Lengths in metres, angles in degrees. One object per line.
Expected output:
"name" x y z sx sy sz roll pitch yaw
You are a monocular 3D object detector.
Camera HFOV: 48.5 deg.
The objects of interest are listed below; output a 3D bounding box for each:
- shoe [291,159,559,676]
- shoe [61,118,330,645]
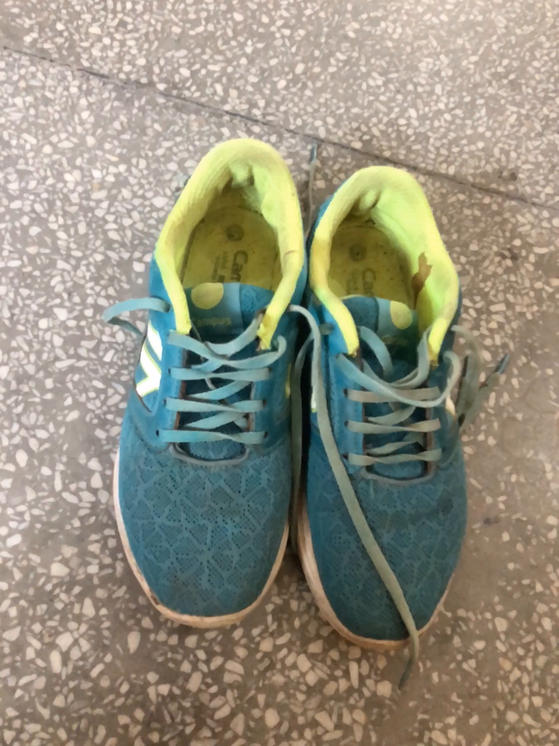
"shoe" 0.061 0.020 0.313 0.094 0.088 0.229 4 71 -6
"shoe" -0.032 0.004 0.309 0.091 0.092 0.230 6 70 -5
